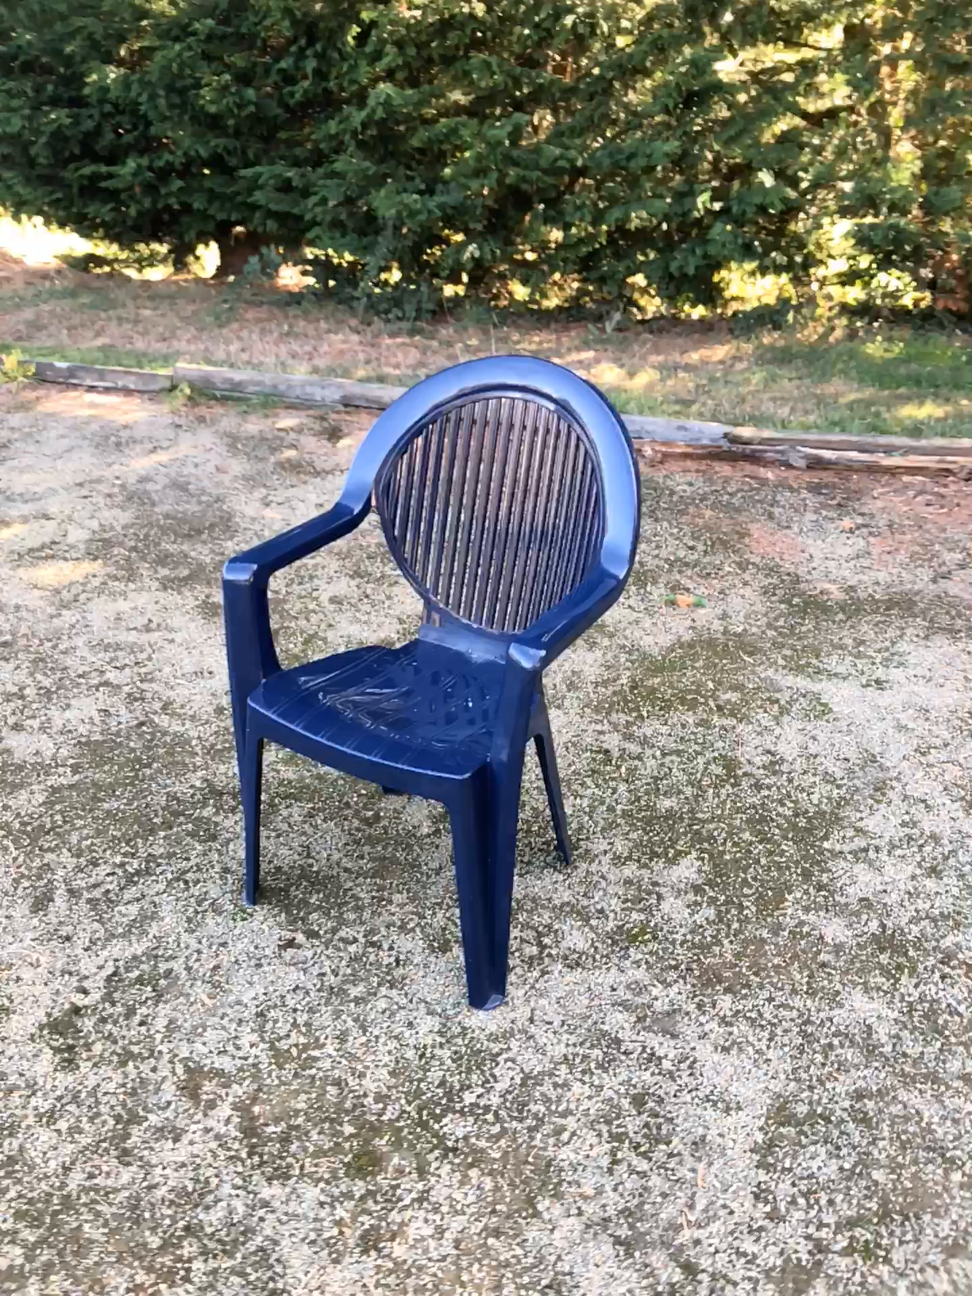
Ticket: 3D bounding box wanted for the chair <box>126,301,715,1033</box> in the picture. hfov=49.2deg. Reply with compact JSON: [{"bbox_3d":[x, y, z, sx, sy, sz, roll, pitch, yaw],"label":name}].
[{"bbox_3d":[-0.065,-0.017,1.655,0.590,0.855,0.573,15,32,25],"label":"chair"}]
